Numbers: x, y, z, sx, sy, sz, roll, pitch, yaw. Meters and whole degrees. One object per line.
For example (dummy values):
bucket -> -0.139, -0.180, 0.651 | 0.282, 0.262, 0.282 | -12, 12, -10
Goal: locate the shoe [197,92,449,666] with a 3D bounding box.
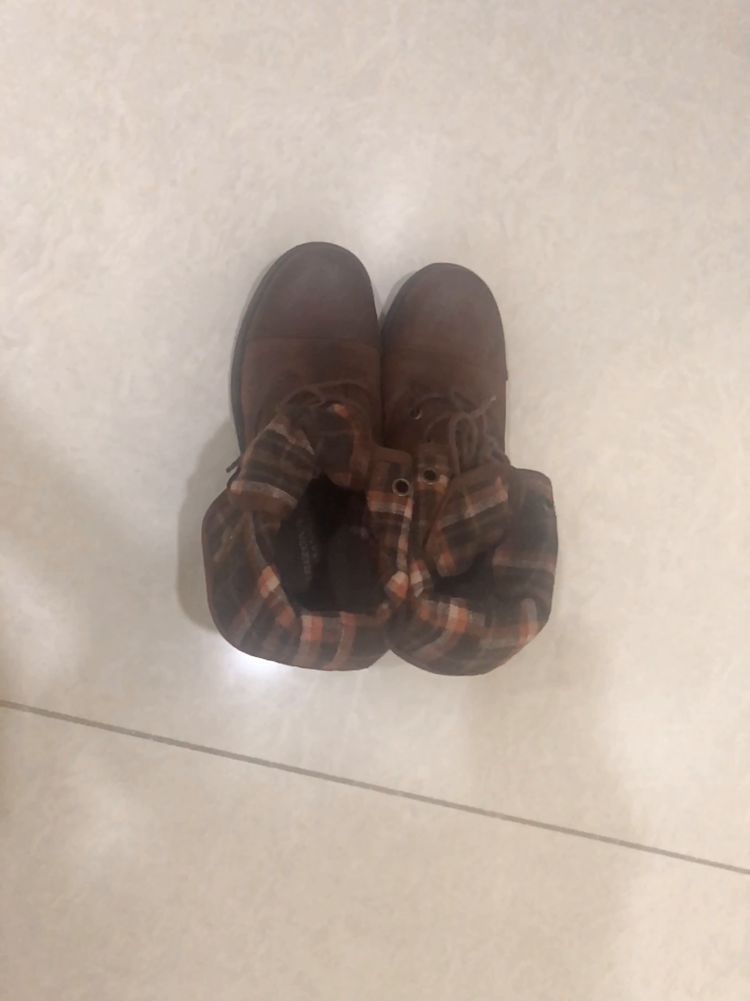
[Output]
shoe -> -0.037, -0.054, 0.486 | 0.110, 0.150, 0.280 | 2, 84, -17

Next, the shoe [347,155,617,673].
shoe -> 0.060, -0.041, 0.514 | 0.100, 0.140, 0.270 | 6, 83, -17
